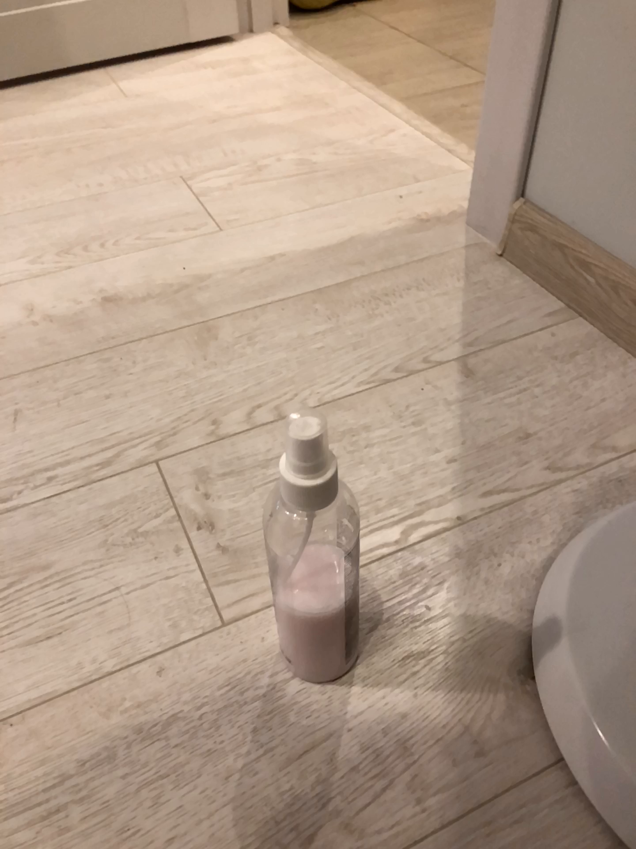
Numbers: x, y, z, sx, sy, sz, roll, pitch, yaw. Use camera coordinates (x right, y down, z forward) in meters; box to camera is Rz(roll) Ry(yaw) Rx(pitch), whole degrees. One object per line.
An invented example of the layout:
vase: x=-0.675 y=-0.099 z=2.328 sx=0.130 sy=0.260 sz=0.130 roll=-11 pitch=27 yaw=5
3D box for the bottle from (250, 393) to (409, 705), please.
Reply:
bottle: x=0.006 y=0.075 z=0.369 sx=0.054 sy=0.183 sz=0.049 roll=-18 pitch=46 yaw=-16
